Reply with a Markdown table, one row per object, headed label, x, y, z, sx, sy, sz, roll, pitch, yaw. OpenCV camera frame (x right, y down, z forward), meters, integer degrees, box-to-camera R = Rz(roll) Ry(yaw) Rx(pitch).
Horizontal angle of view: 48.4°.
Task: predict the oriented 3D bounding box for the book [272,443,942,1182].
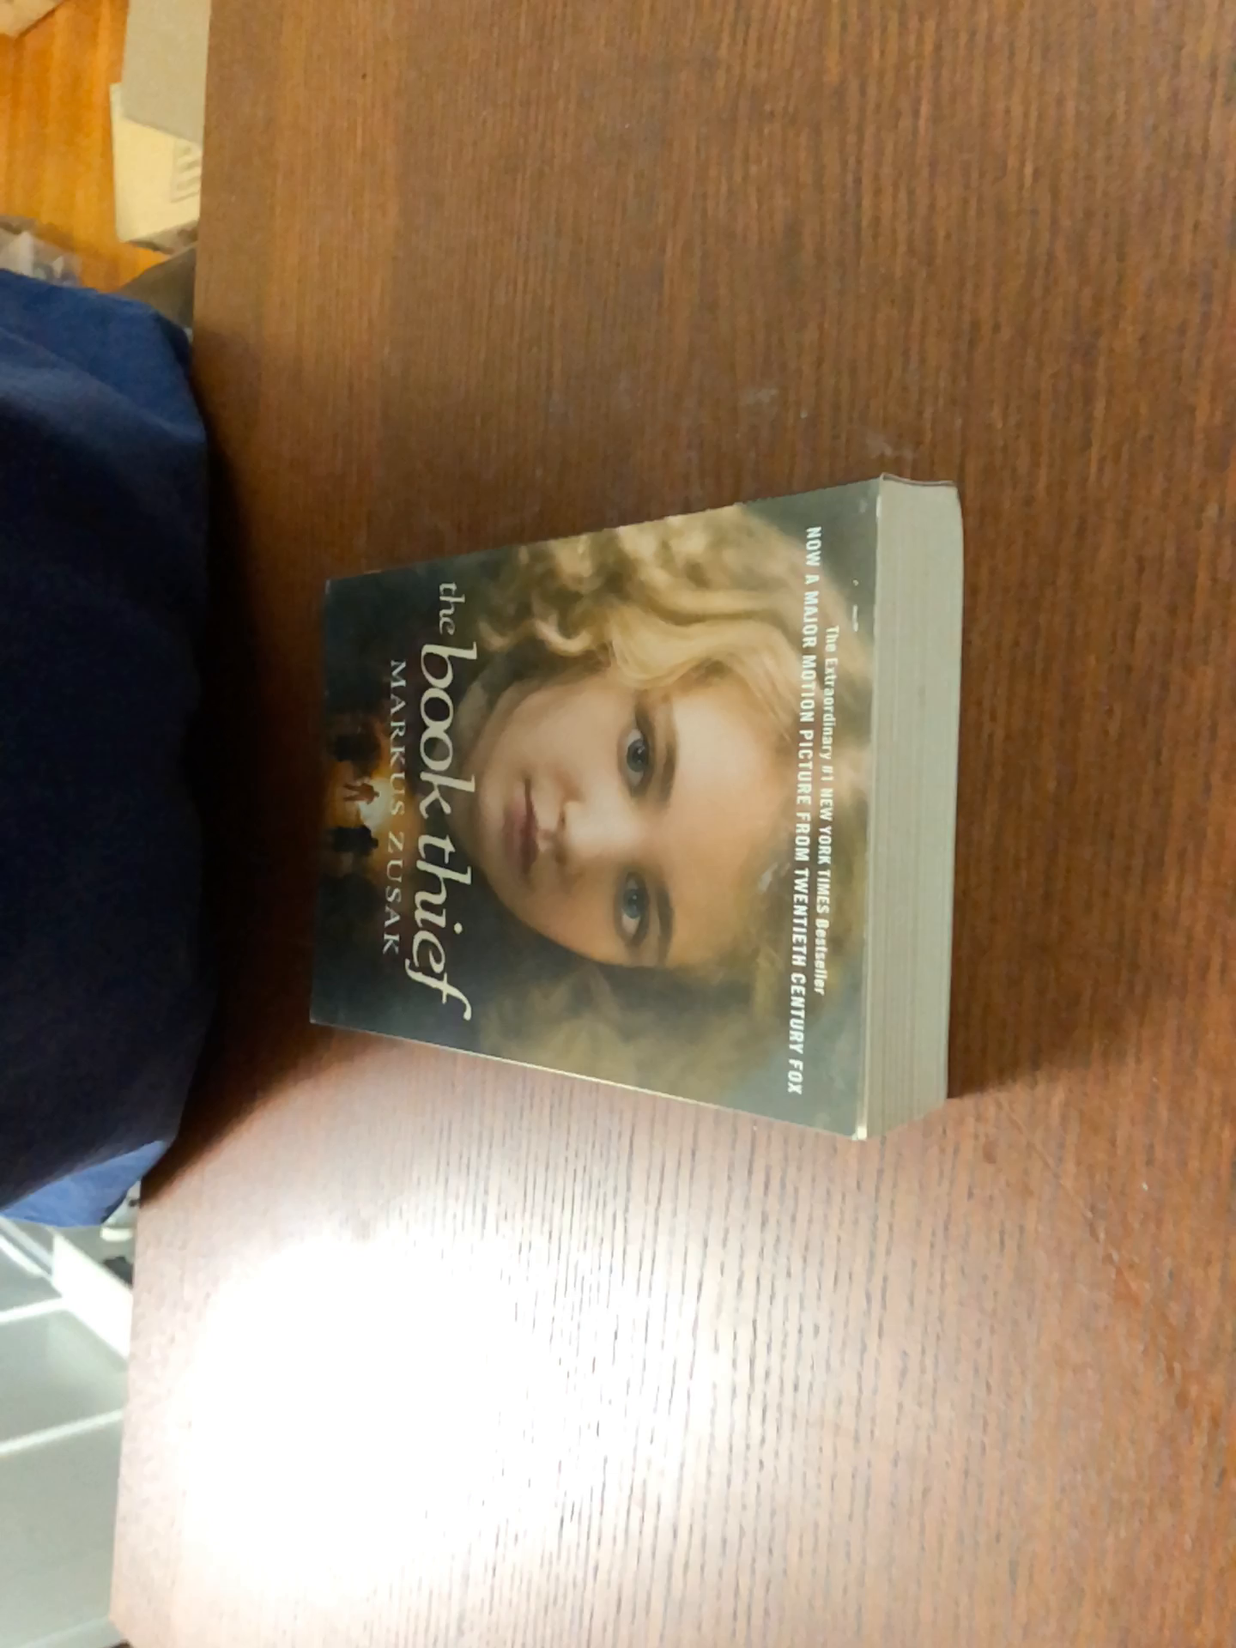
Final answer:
| label | x | y | z | sx | sy | sz | roll | pitch | yaw |
| --- | --- | --- | --- | --- | --- | --- | --- | --- | --- |
| book | -0.020 | -0.005 | 0.369 | 0.221 | 0.030 | 0.150 | 3 | 91 | 46 |
